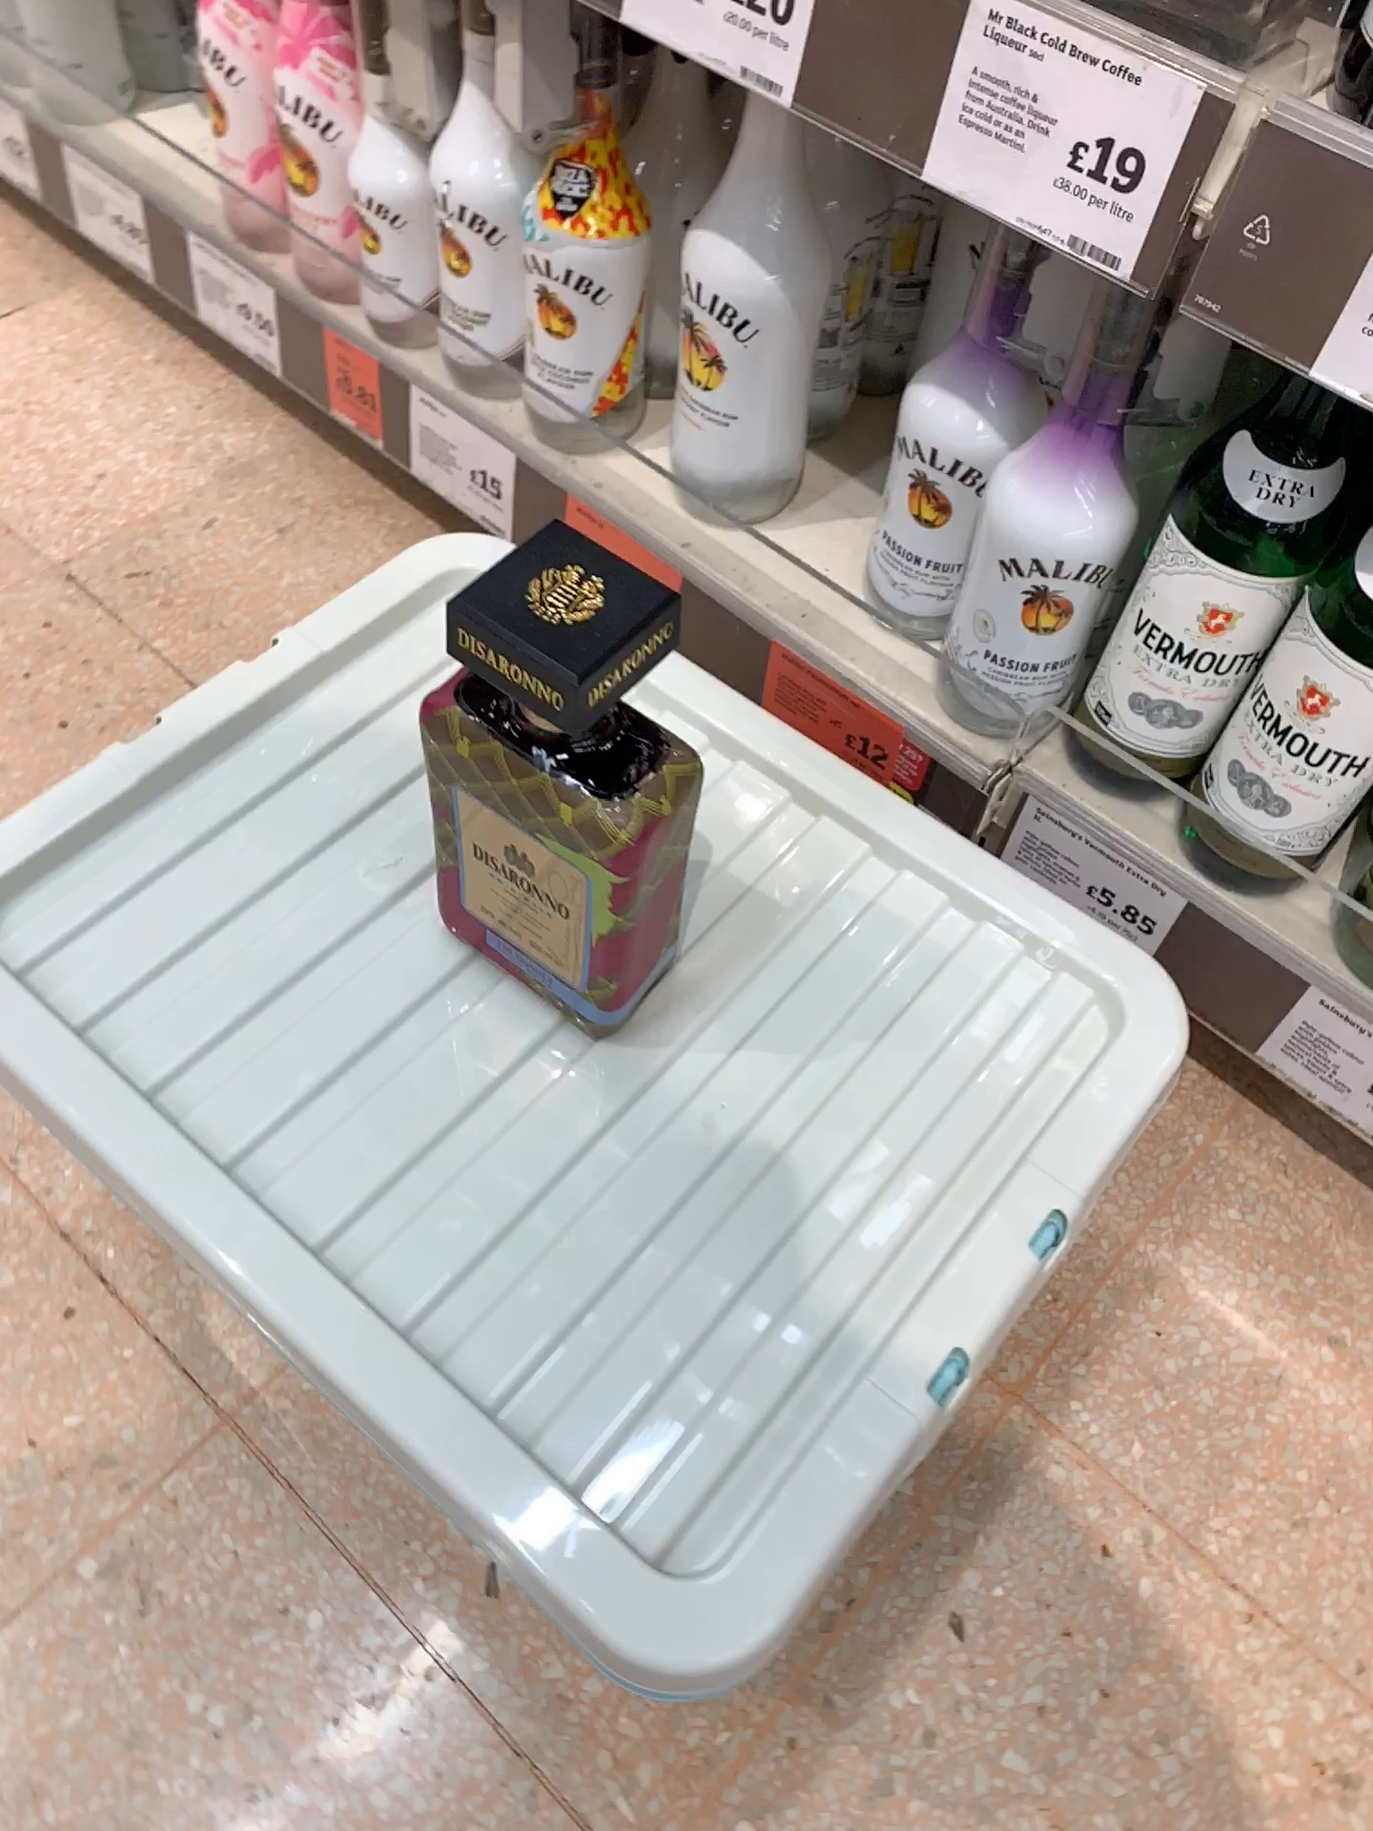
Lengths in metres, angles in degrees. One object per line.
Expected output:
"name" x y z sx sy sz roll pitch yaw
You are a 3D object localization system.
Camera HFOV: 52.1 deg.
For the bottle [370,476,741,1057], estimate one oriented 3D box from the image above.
"bottle" -0.048 -0.044 0.518 0.100 0.198 0.060 35 60 18
